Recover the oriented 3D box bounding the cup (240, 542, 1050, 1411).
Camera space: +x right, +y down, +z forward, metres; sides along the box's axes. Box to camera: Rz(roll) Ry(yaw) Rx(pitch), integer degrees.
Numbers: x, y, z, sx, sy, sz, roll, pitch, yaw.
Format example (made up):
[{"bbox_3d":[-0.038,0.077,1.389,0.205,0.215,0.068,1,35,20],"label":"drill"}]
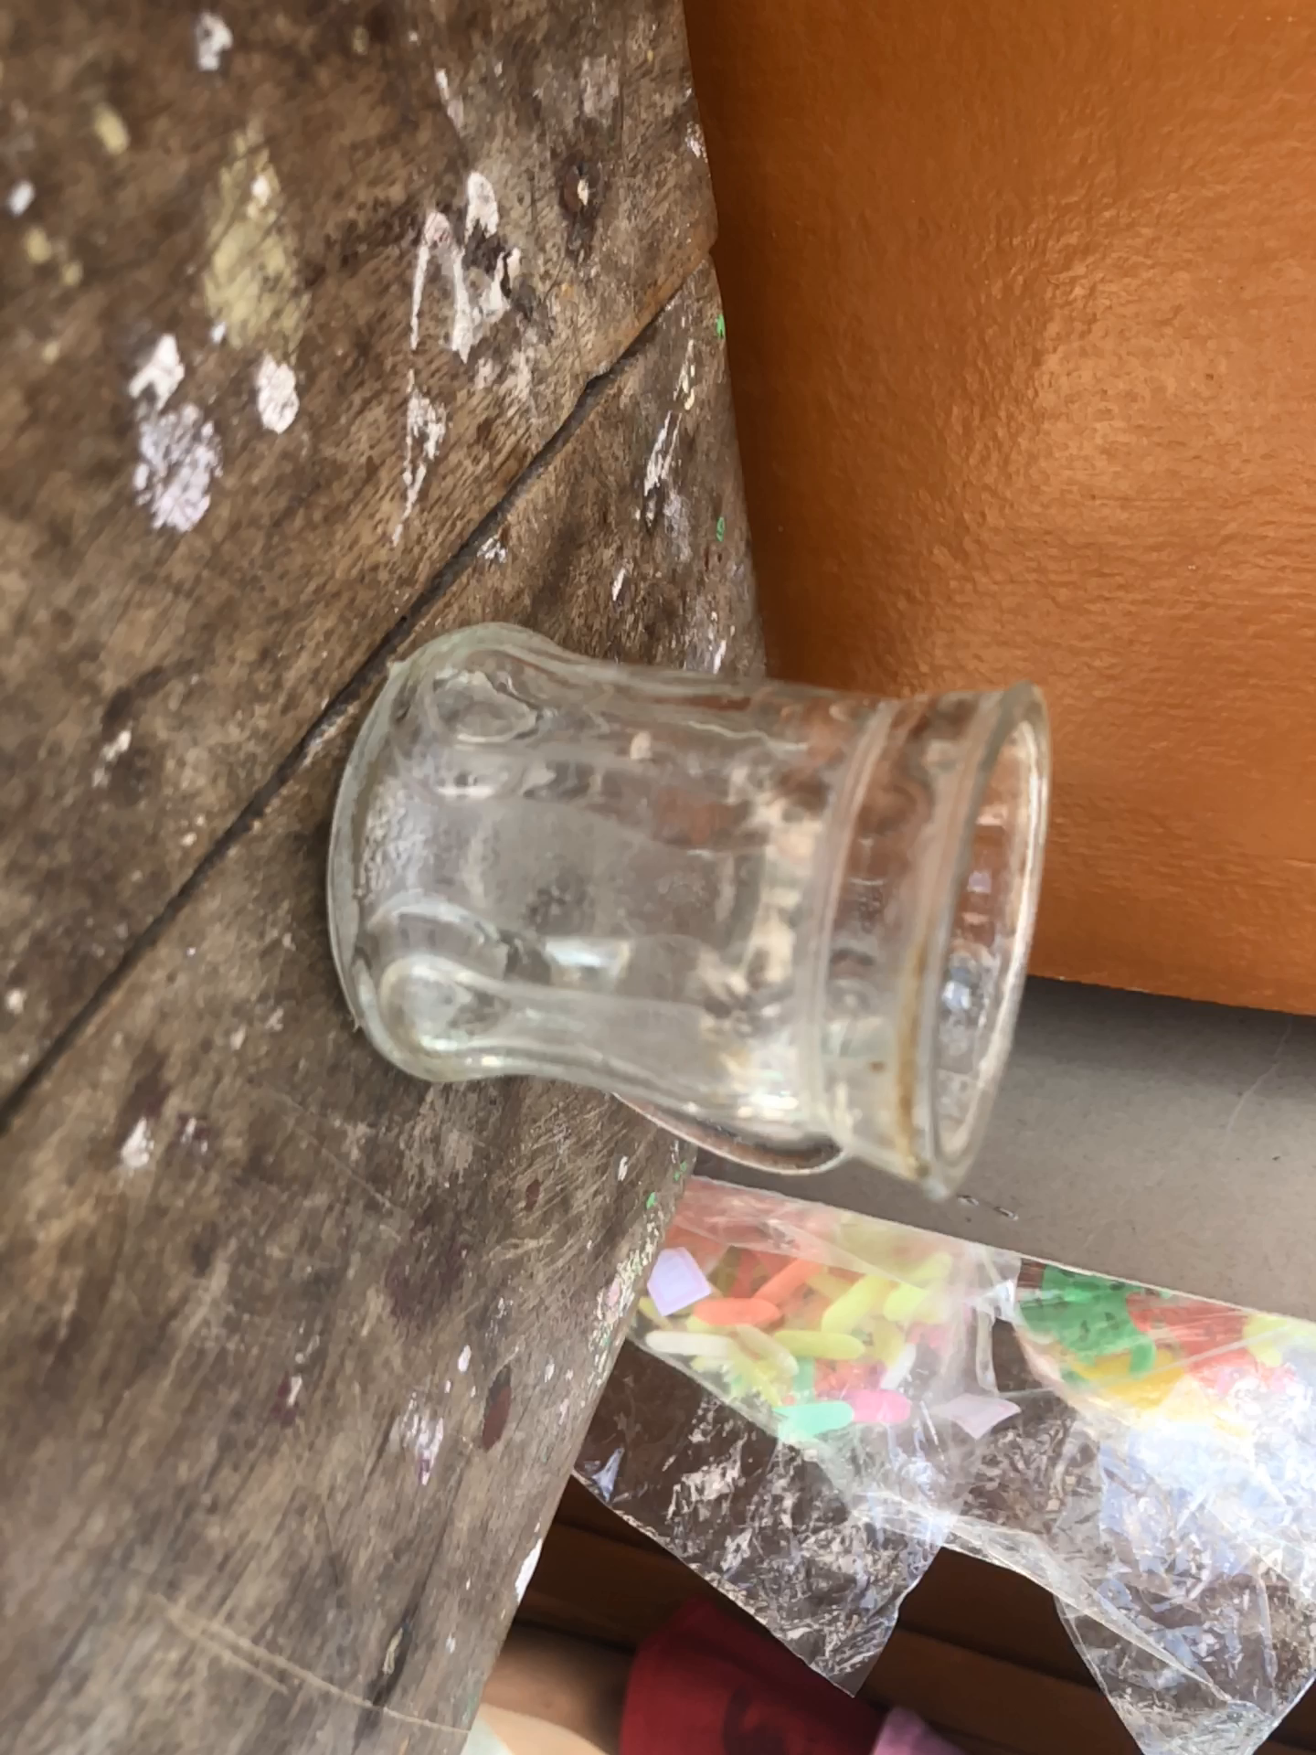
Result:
[{"bbox_3d":[0.008,0.012,0.163,0.080,0.060,0.050,72,33,-47],"label":"cup"}]
